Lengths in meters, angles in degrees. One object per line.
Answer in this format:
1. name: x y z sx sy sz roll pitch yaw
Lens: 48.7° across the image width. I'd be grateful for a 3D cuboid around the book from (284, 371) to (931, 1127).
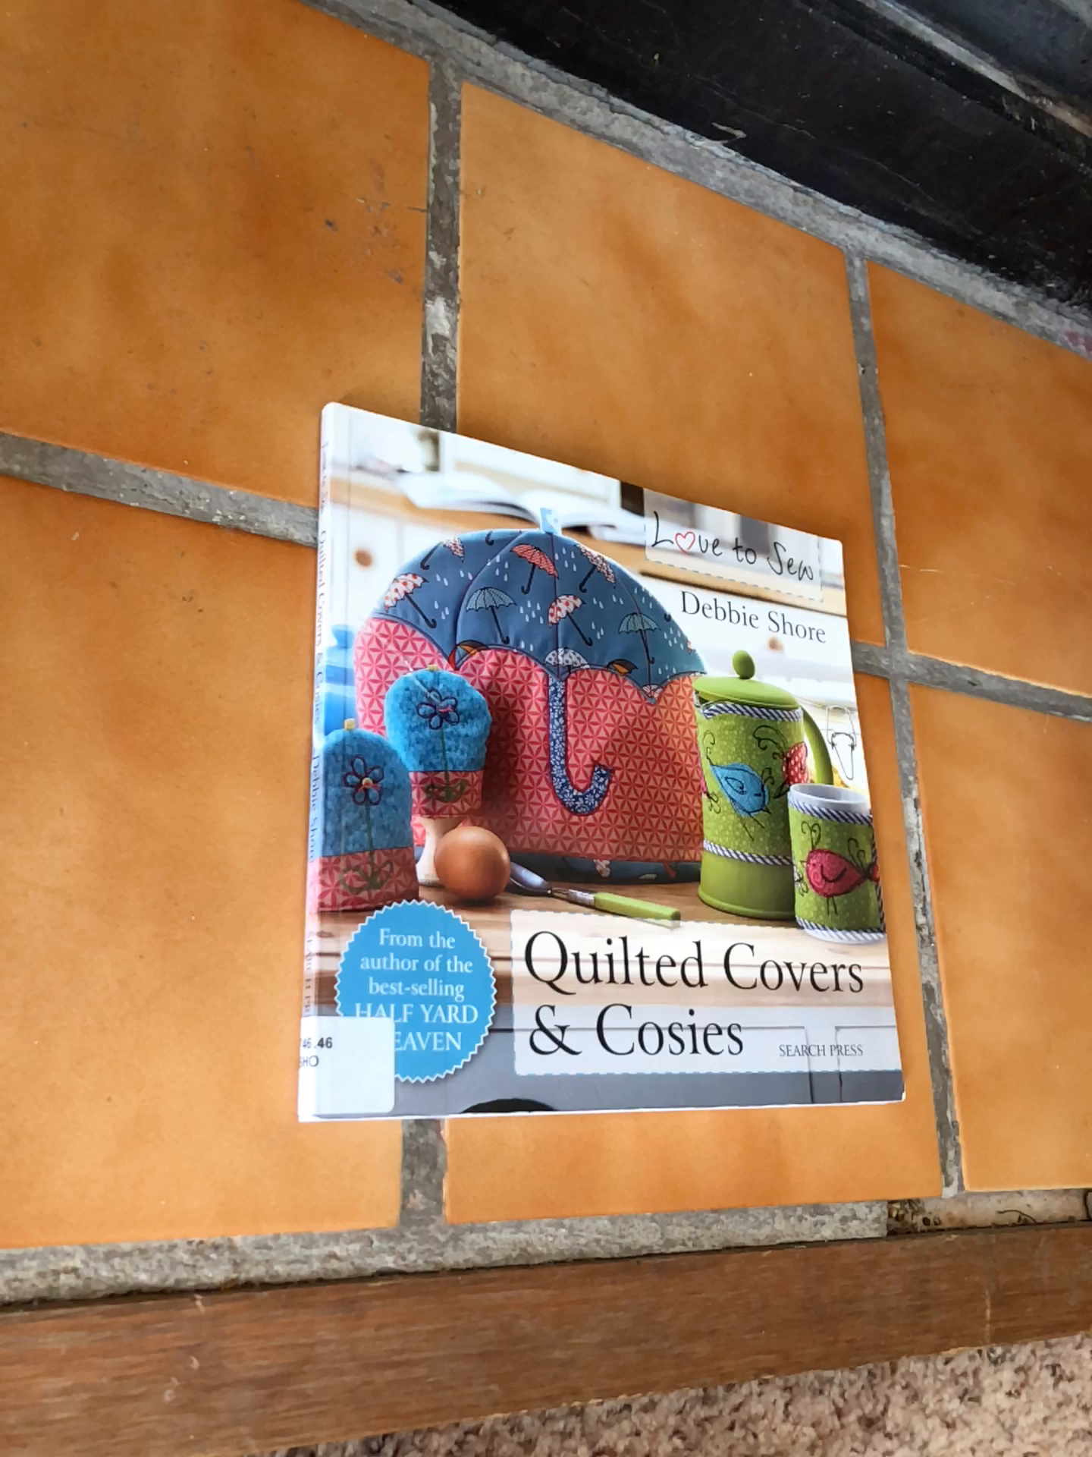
1. book: 0.029 0.012 0.398 0.225 0.015 0.219 8 70 -30
